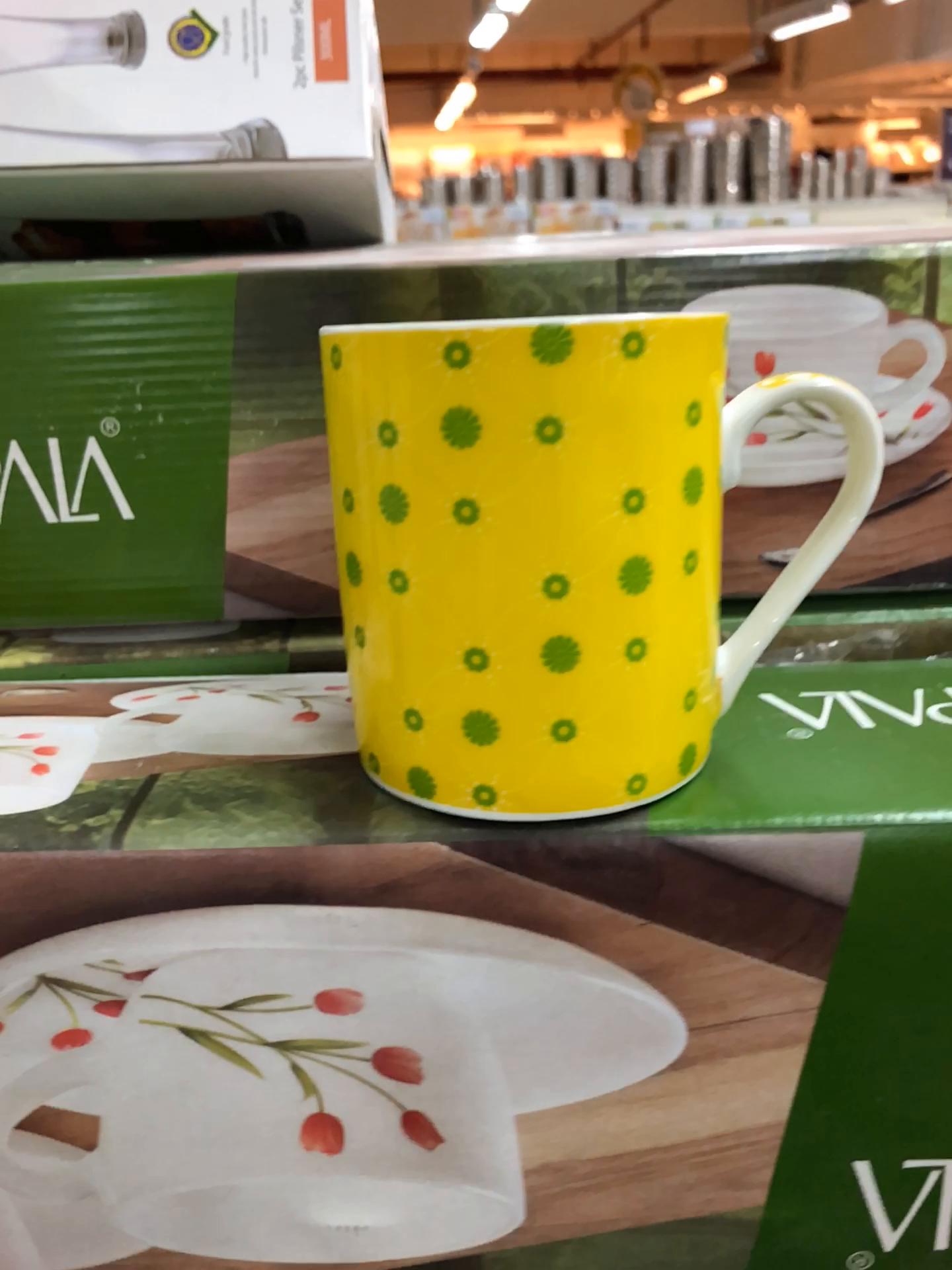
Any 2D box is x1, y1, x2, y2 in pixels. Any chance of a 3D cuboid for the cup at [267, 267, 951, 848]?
[{"bbox_3d":[0.025,-0.020,0.211,0.110,0.090,0.080,-3,14,0],"label":"cup"}]
